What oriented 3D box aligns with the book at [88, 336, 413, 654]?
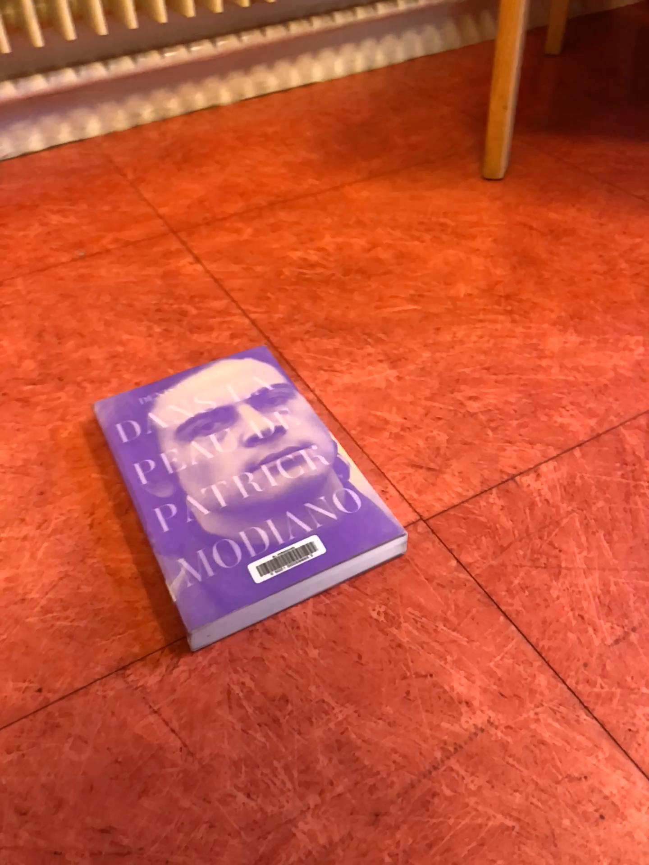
[{"bbox_3d":[-0.064,0.025,0.513,0.150,0.030,0.233,-21,46,-18],"label":"book"}]
